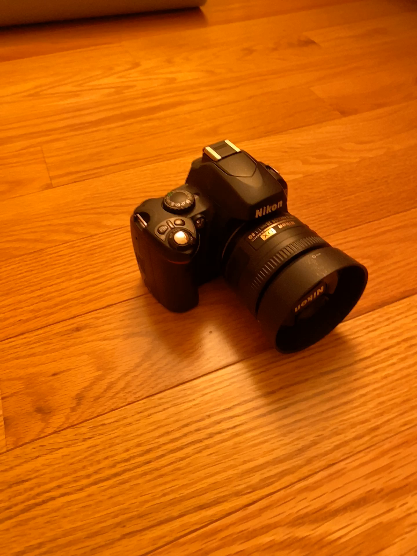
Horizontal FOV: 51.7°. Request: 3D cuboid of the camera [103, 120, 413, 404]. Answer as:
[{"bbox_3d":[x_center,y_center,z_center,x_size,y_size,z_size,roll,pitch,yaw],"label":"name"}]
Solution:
[{"bbox_3d":[0.024,-0.021,0.291,0.130,0.080,0.141,-25,53,-20],"label":"camera"}]
